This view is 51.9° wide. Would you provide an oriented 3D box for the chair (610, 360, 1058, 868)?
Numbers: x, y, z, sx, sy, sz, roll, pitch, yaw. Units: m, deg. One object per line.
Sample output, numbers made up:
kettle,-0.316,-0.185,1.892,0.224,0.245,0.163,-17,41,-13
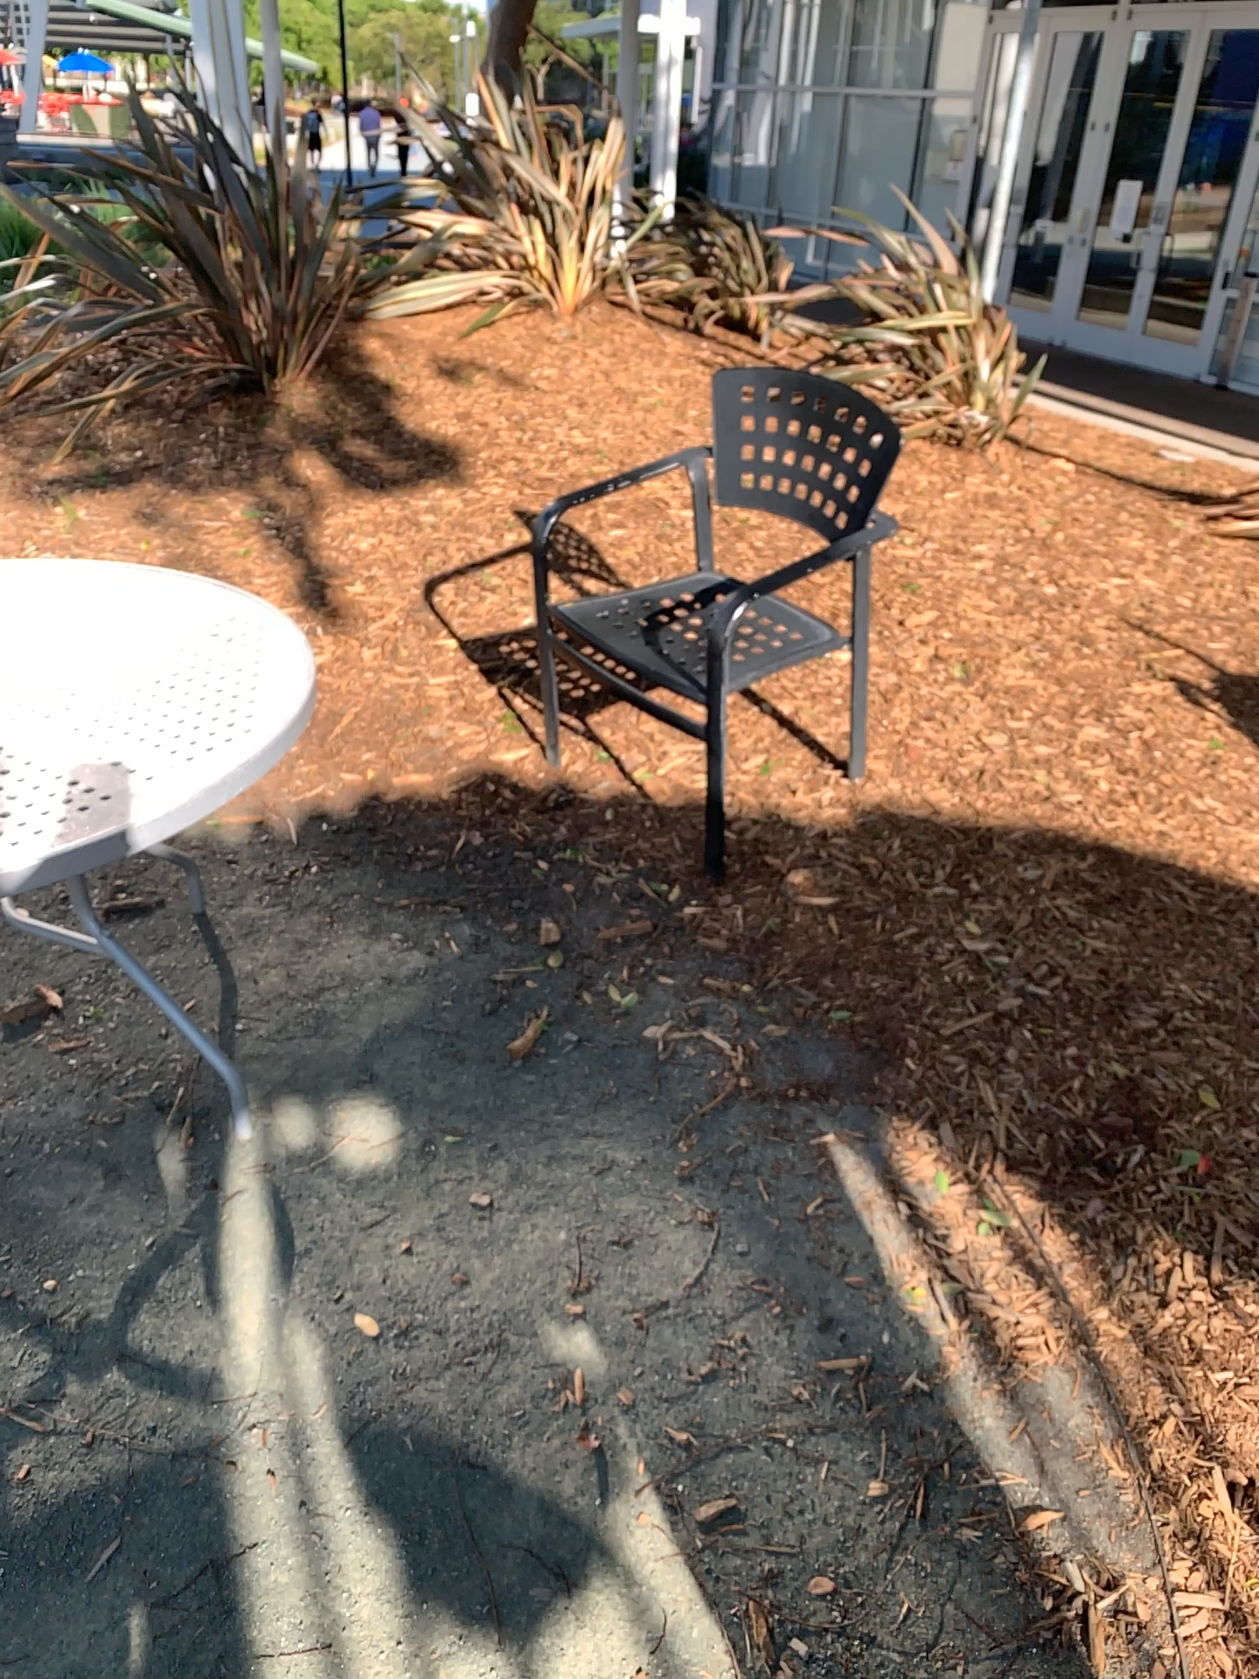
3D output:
chair,0.339,-0.440,2.368,0.501,0.716,0.522,-19,36,-34
